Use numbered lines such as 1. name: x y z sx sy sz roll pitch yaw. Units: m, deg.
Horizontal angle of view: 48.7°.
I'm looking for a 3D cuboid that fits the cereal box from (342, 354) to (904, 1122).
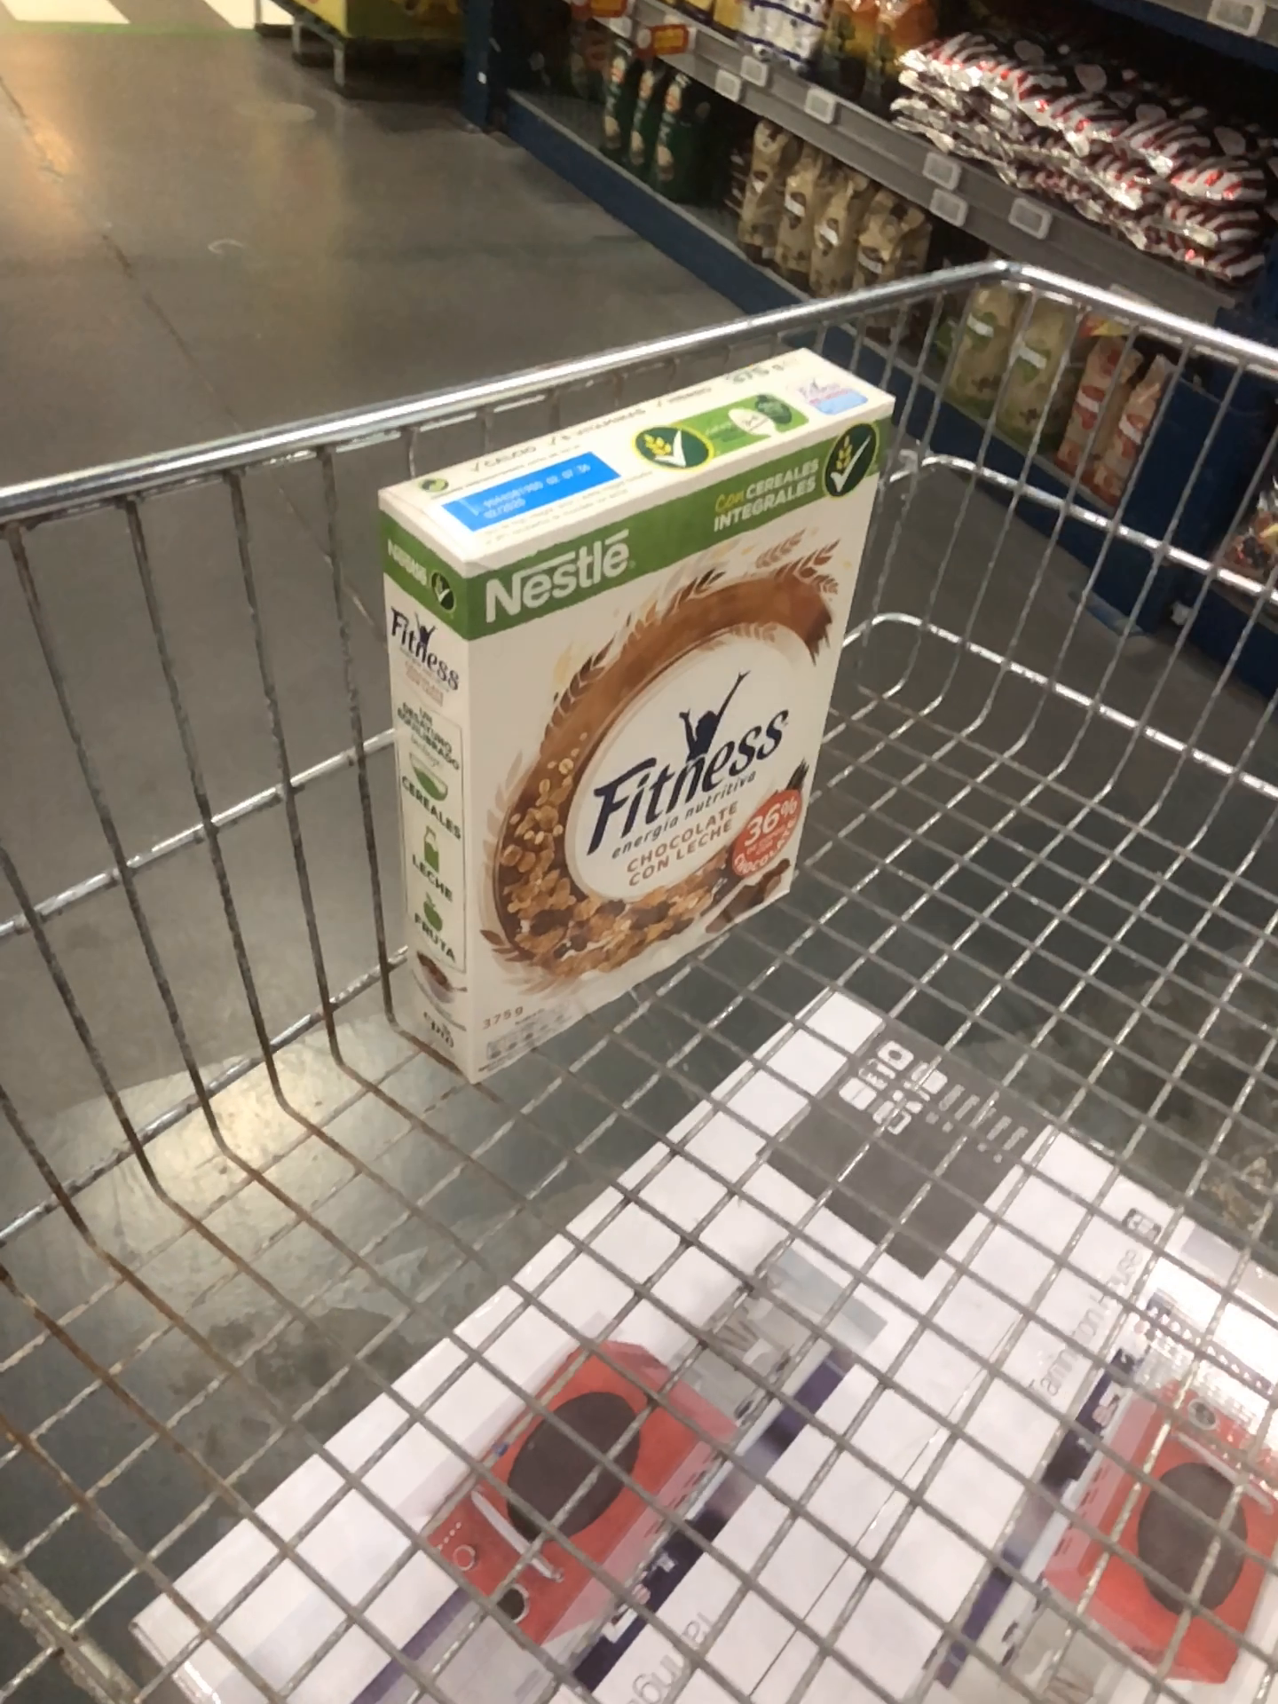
1. cereal box: -0.008 -0.040 0.565 0.201 0.259 0.060 -29 53 -32
